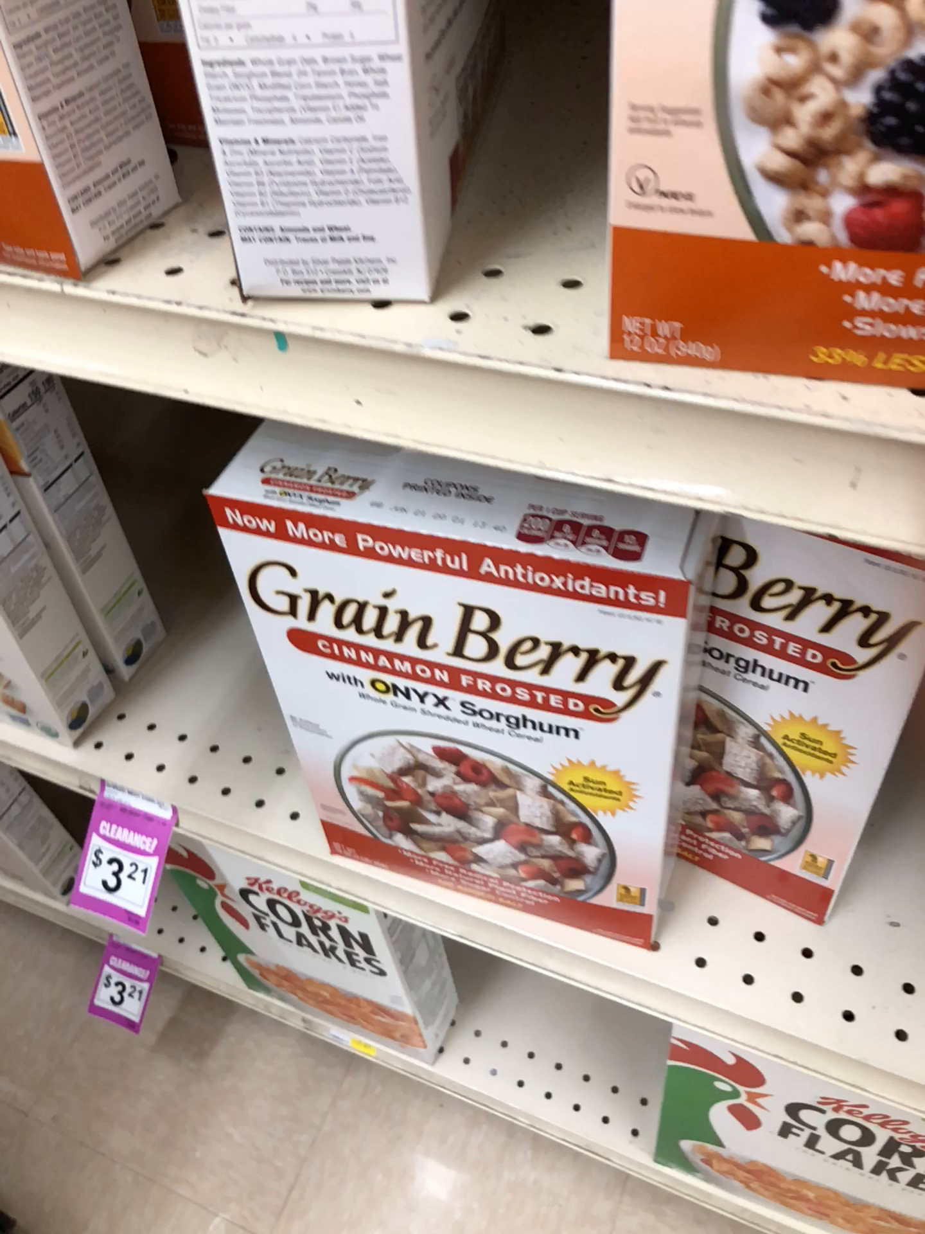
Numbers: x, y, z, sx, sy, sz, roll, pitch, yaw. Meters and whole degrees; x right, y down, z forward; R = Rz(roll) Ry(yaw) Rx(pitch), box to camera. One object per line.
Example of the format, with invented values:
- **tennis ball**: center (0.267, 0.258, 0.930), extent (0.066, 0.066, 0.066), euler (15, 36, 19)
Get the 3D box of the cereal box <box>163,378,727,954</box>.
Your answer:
- **cereal box**: center (0.003, 0.038, 0.486), extent (0.200, 0.279, 0.070), euler (12, 51, 17)
